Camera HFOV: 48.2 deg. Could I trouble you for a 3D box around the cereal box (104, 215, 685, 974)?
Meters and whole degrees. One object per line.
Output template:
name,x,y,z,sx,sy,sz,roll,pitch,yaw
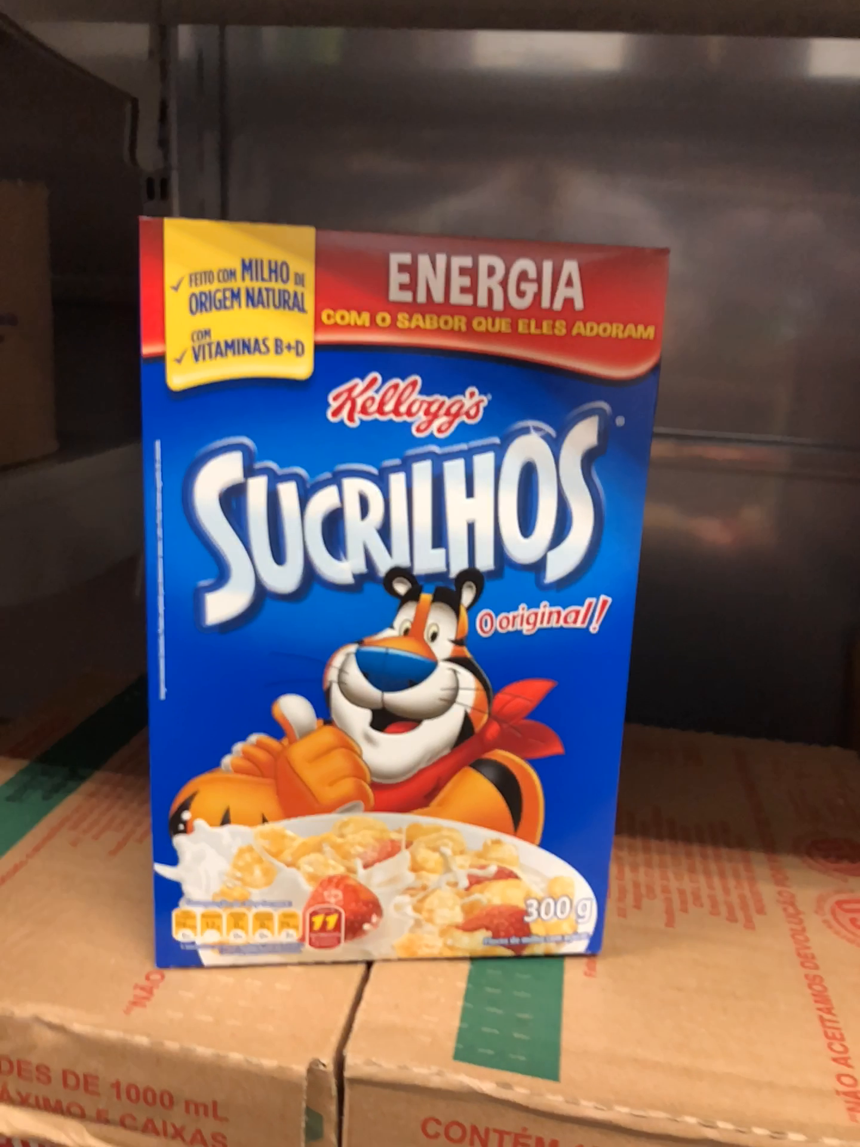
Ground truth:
cereal box,-0.015,0.011,0.341,0.170,0.249,0.060,0,15,-6
